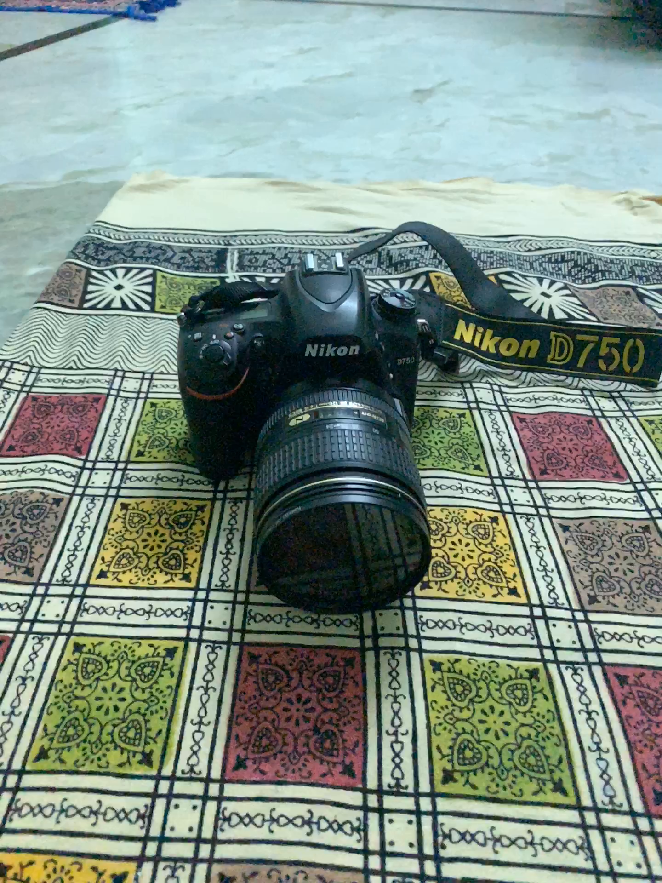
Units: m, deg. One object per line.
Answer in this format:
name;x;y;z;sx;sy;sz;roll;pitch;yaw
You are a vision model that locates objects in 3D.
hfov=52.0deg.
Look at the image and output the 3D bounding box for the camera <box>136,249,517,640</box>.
camera;-0.006;-0.011;0.354;0.140;0.100;0.191;-2;40;-2
